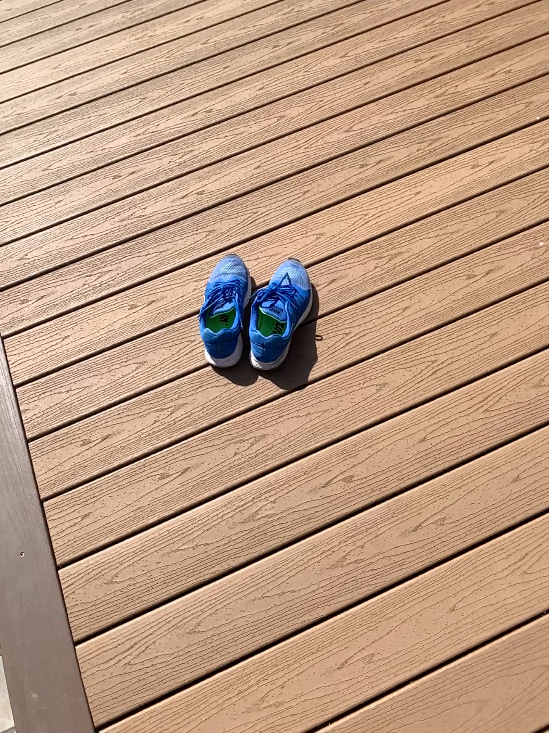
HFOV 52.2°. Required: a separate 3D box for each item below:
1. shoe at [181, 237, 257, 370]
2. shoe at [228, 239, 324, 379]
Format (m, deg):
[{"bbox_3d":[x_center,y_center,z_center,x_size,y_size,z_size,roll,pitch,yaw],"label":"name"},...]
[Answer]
[{"bbox_3d":[-0.122,-0.150,1.306,0.120,0.103,0.298,1,63,8],"label":"shoe"},{"bbox_3d":[0.012,-0.135,1.287,0.120,0.105,0.290,15,66,14],"label":"shoe"}]
